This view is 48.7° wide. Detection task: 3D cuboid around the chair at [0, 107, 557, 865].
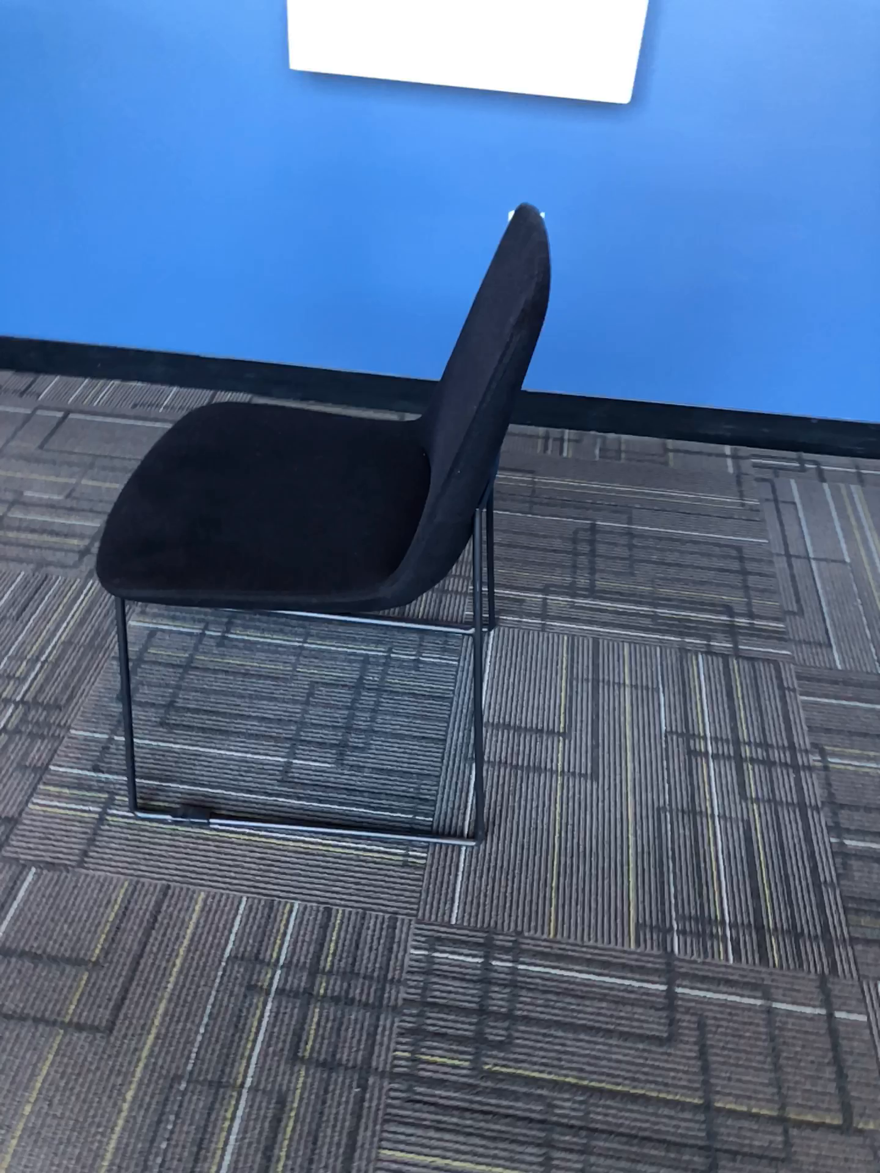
[{"bbox_3d":[-0.176,-0.118,1.269,0.550,0.766,0.563,4,41,1],"label":"chair"}]
